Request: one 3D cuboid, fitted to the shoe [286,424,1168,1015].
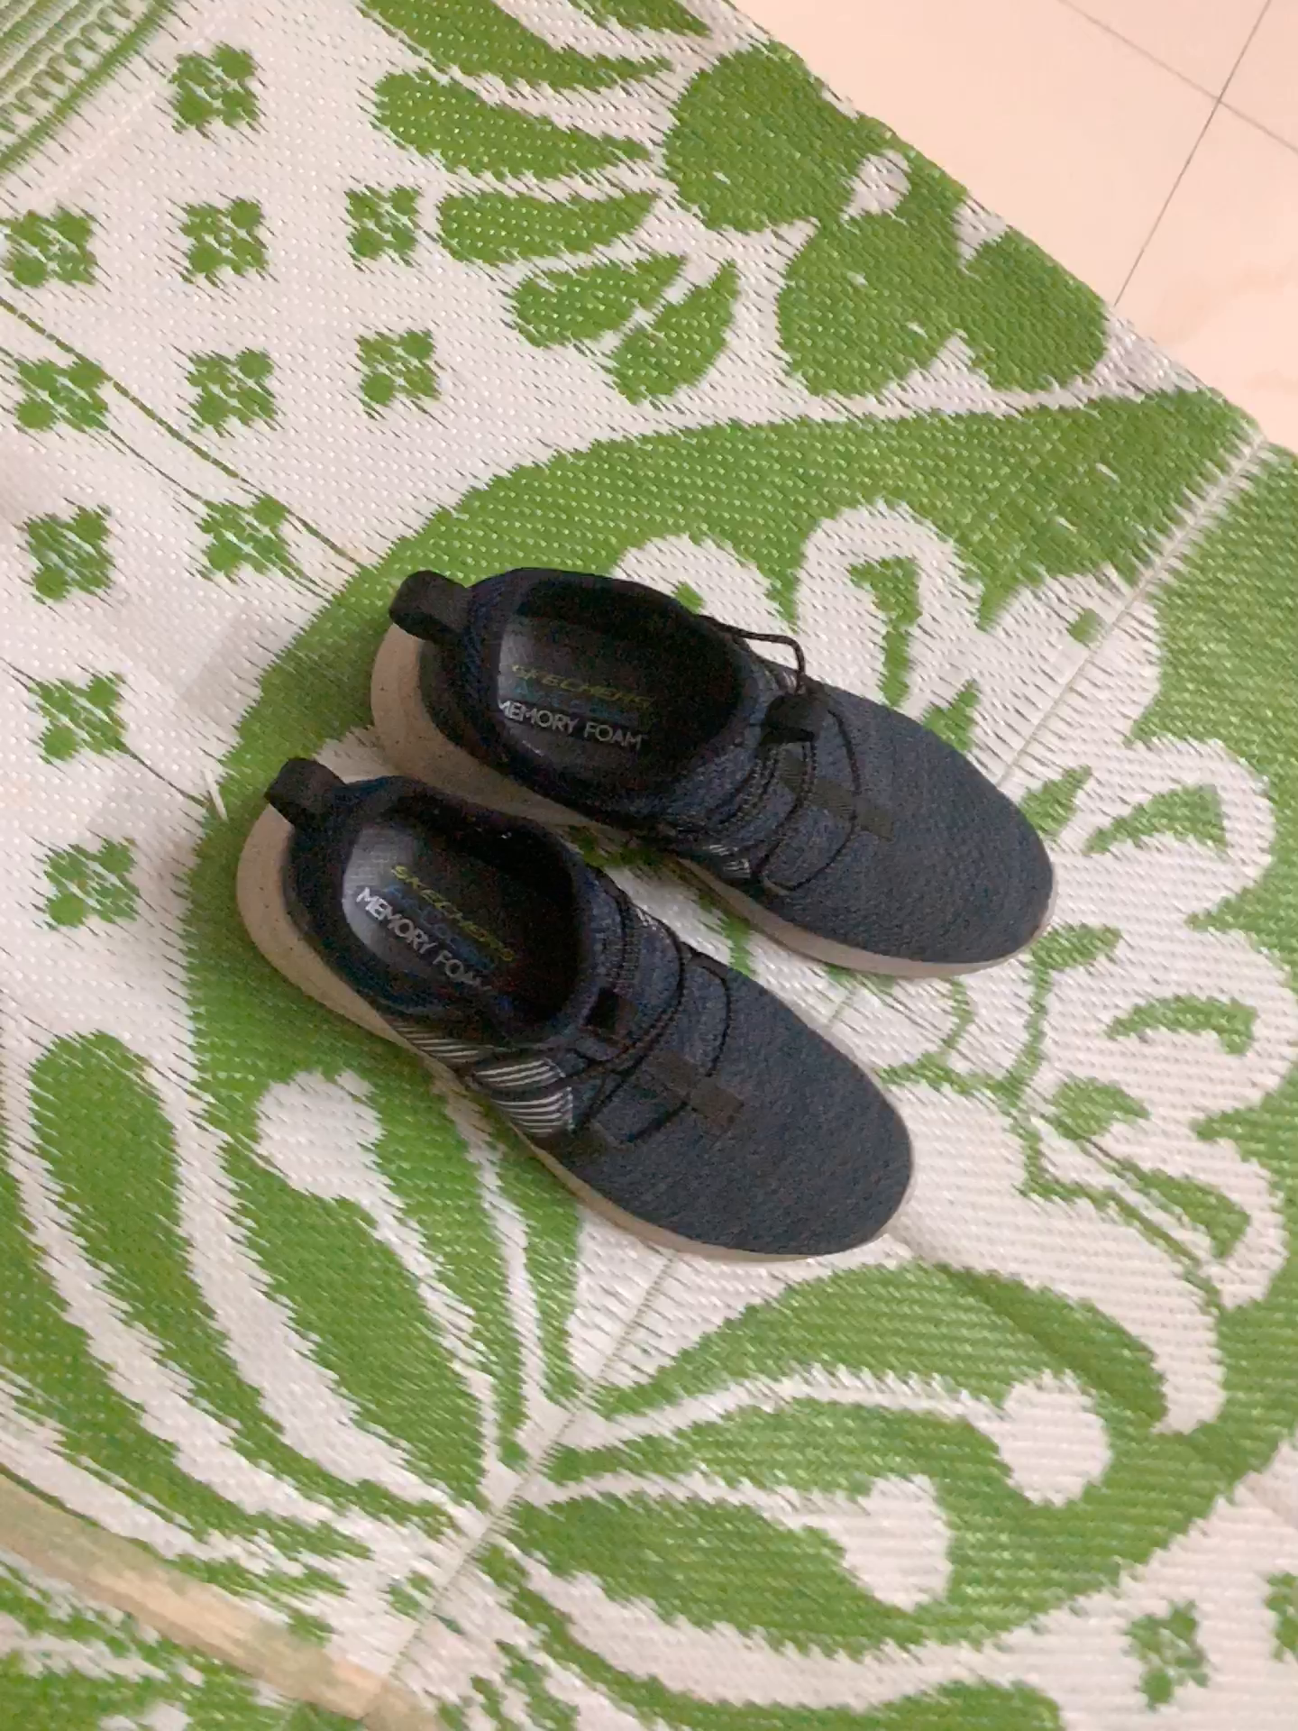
[{"bbox_3d":[0.027,-0.043,0.504,0.290,0.100,0.110,20,80,-7],"label":"shoe"}]

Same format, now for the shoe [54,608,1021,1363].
[{"bbox_3d":[-0.036,0.045,0.481,0.300,0.100,0.110,31,79,-5],"label":"shoe"}]
